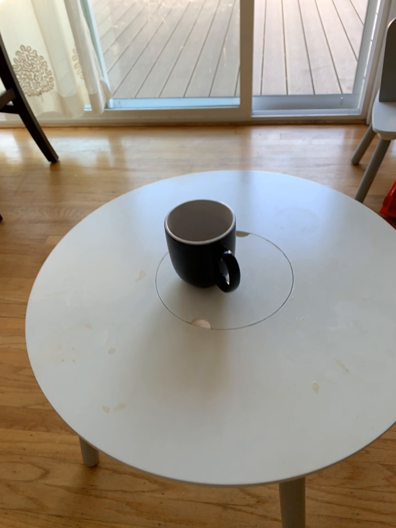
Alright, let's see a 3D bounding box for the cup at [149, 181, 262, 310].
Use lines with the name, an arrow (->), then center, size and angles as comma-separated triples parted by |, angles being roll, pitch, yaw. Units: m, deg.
cup -> 0.008, -0.031, 0.576 | 0.100, 0.090, 0.141 | -20, 46, -14
